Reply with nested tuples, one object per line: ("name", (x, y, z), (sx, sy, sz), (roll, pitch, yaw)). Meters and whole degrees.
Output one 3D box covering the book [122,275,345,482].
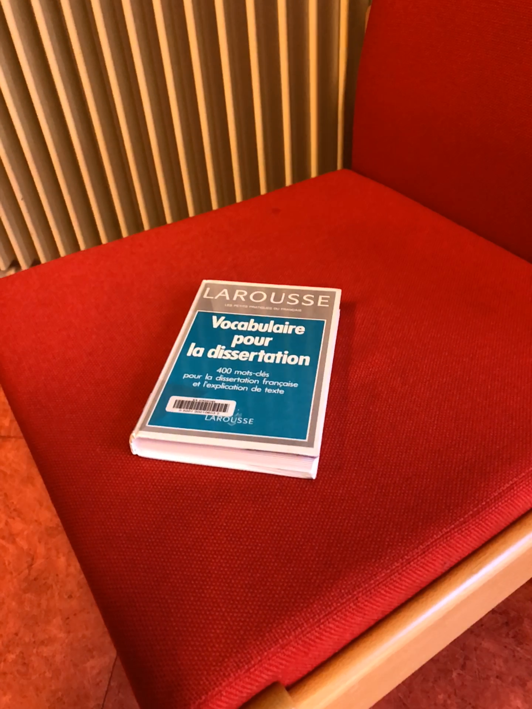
("book", (-0.013, 0.006, 0.475), (0.137, 0.030, 0.199), (4, 41, 10))
